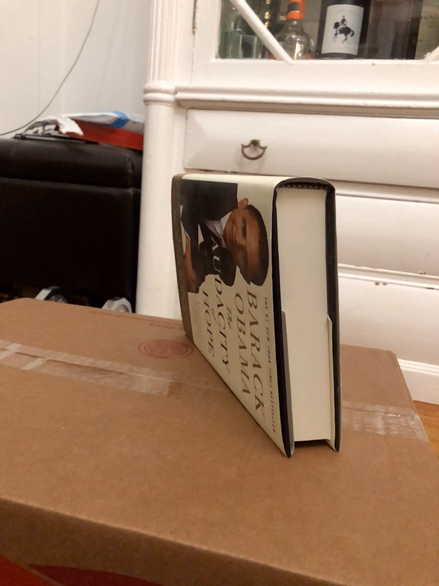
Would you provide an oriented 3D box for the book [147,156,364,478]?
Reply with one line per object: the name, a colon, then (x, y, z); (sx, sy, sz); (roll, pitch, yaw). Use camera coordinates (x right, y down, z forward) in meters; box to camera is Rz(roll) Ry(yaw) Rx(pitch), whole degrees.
book: (0.009, -0.009, 0.378); (0.060, 0.169, 0.251); (-10, 15, -17)
